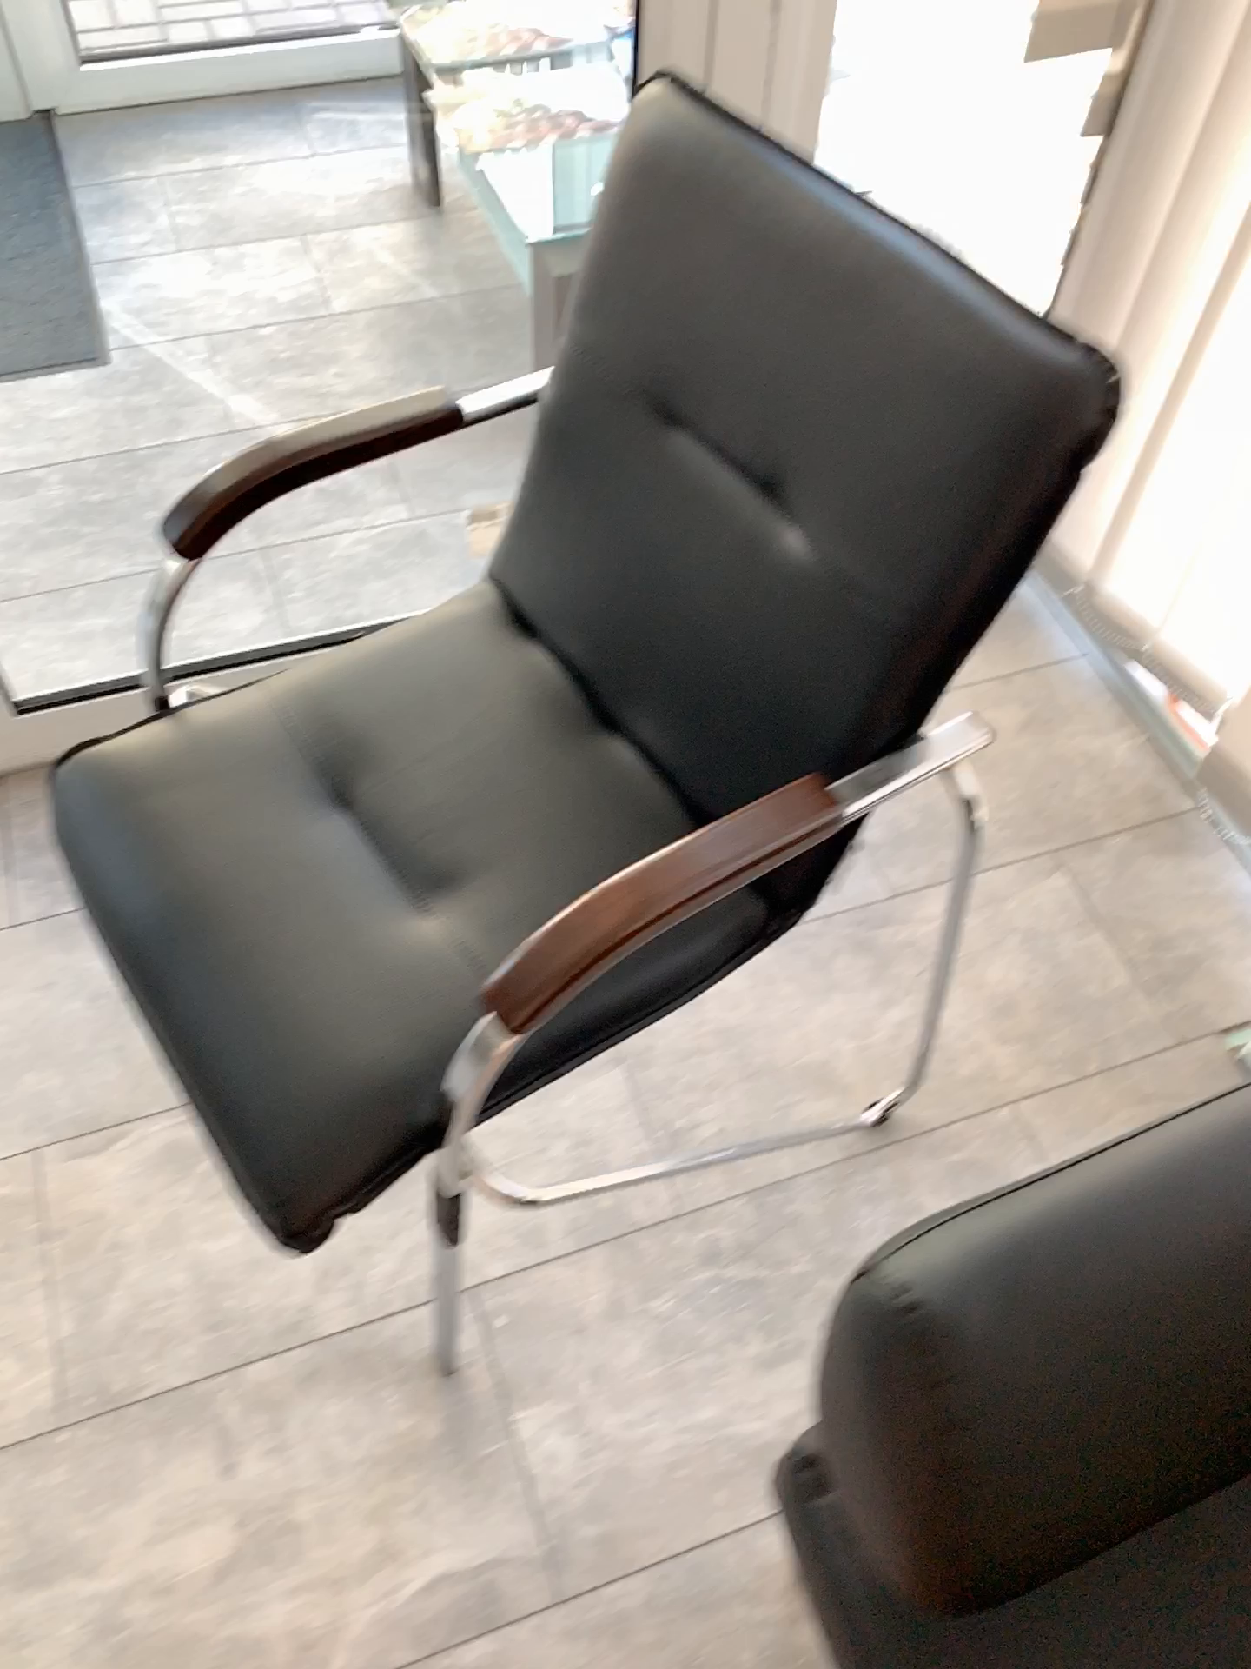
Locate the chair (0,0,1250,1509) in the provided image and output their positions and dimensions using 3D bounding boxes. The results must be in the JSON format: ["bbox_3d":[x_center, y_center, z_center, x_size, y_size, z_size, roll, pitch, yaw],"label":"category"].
[{"bbox_3d":[-0.102,-0.046,1.062,0.701,0.827,0.682,-29,60,-22],"label":"chair"}]
